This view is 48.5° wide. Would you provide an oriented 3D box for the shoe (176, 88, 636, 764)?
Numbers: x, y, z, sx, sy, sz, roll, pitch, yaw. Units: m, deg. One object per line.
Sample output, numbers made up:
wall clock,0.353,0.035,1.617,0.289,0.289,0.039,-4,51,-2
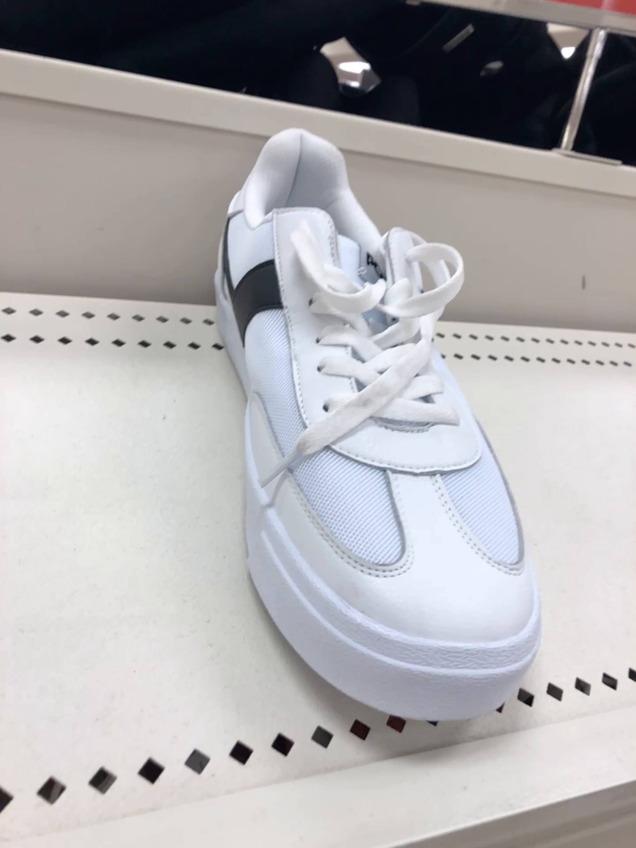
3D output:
shoe,0.013,-0.057,0.328,0.113,0.129,0.373,3,28,-18
